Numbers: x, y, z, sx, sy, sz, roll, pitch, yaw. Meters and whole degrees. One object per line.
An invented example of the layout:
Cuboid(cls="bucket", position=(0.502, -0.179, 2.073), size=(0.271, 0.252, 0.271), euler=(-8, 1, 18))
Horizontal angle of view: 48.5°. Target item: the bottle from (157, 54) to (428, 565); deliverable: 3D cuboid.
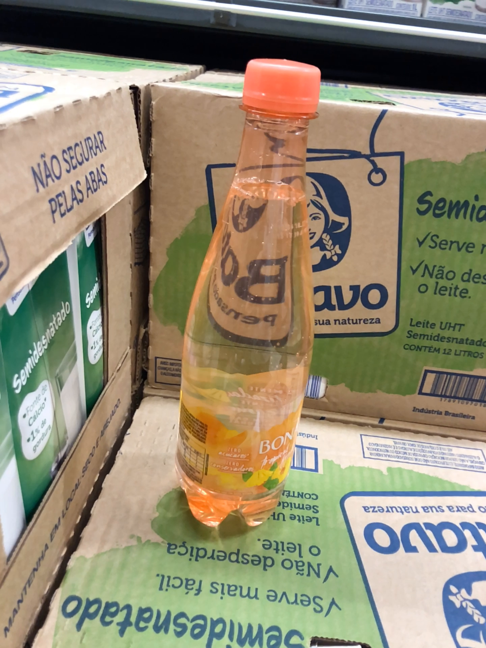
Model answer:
Cuboid(cls="bottle", position=(0.014, -0.003, 0.271), size=(0.070, 0.228, 0.080), euler=(26, 32, 32))
